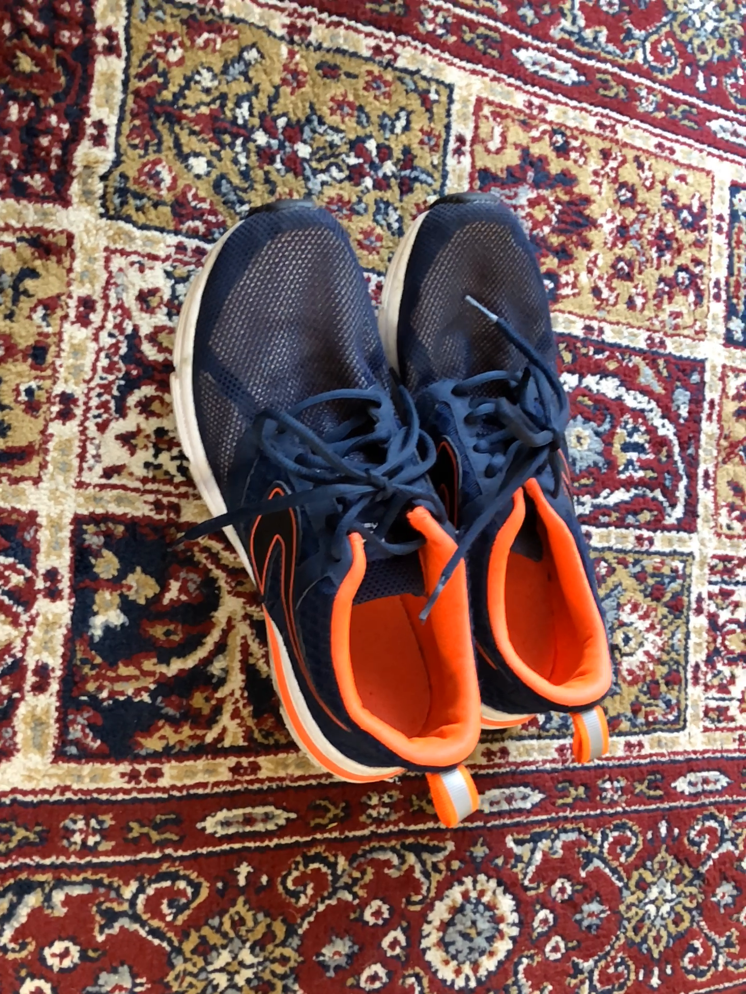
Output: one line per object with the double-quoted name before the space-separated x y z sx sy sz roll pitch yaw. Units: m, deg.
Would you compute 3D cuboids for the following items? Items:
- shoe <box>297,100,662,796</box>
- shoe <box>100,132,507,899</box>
"shoe" 0.053 -0.028 0.471 0.120 0.130 0.330 -8 91 -21
"shoe" -0.044 0.003 0.434 0.120 0.130 0.330 -12 93 -21
